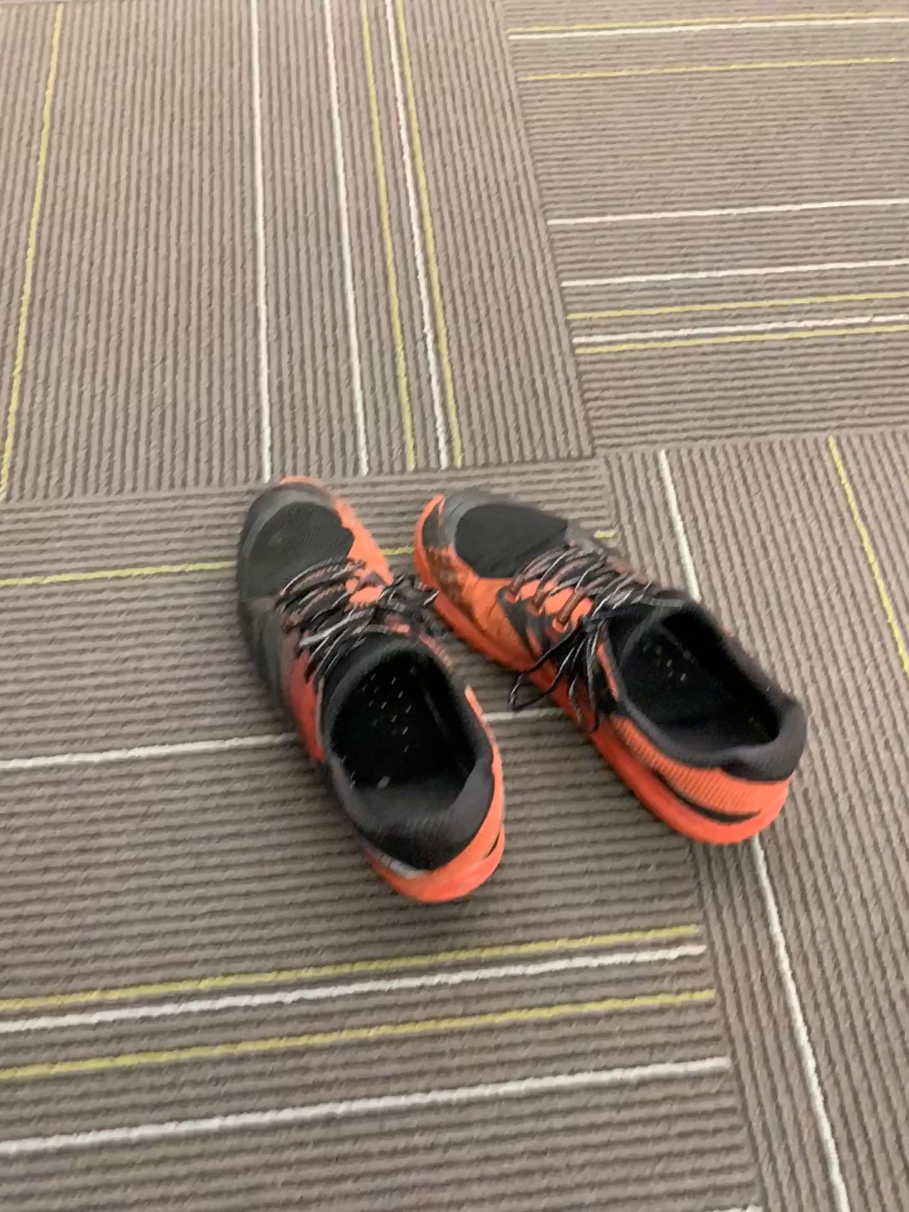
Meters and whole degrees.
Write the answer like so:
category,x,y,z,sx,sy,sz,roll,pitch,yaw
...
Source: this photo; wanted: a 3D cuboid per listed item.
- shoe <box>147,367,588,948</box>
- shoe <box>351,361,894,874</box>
category,x,y,z,sx,sy,sz,roll,pitch,yaw
shoe,-0.062,0.028,0.590,0.130,0.130,0.321,-24,67,-12
shoe,0.091,0.006,0.610,0.310,0.130,0.130,42,70,17
